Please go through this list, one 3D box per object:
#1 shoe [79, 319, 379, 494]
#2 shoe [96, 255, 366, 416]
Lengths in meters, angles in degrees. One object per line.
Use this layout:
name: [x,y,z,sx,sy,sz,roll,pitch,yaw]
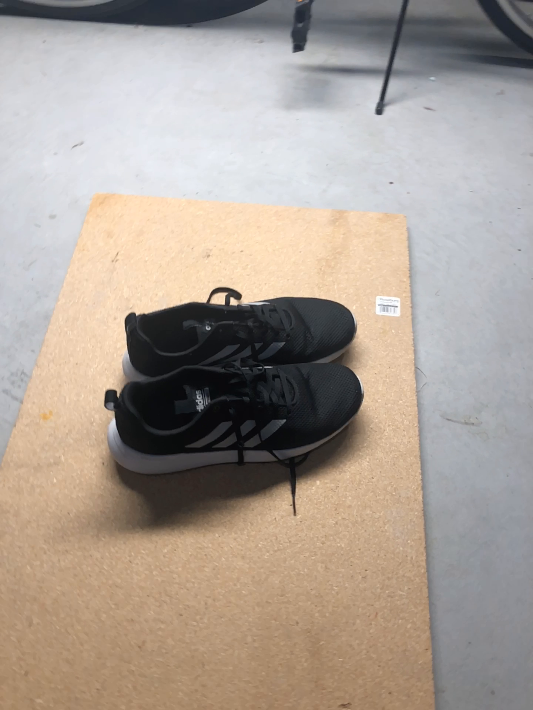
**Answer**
shoe: [-0.043,0.054,0.654,0.300,0.090,0.110,-10,51,-8]
shoe: [-0.044,-0.027,0.722,0.300,0.090,0.110,-12,51,-9]
